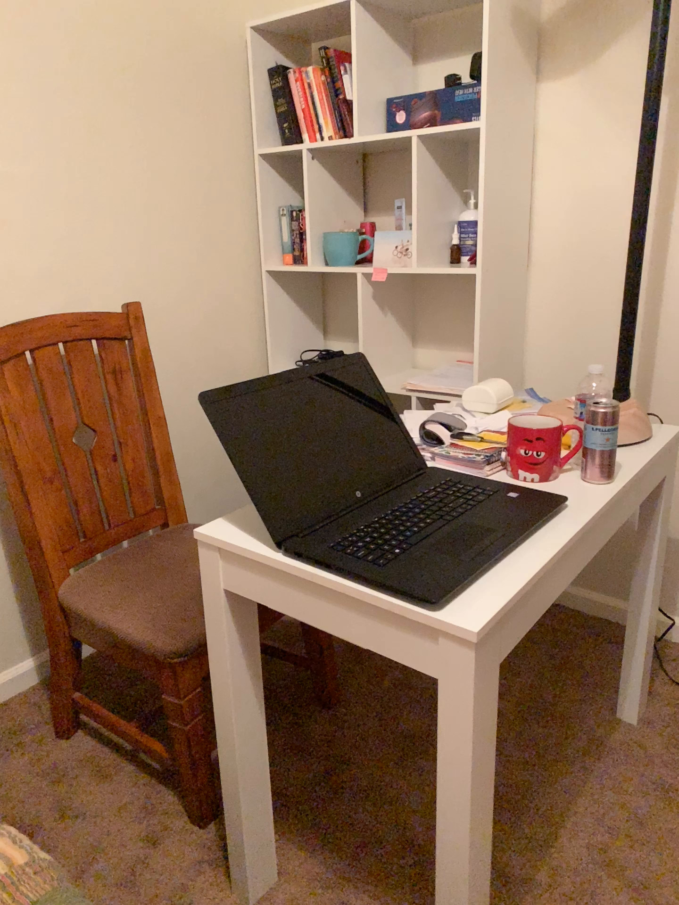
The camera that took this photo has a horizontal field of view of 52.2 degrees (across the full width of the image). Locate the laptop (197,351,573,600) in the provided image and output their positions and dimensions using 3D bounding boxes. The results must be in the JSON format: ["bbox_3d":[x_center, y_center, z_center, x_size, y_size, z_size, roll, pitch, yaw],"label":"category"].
[{"bbox_3d":[0.078,-0.008,1.084,0.416,0.197,0.401,13,23,37],"label":"laptop"}]
